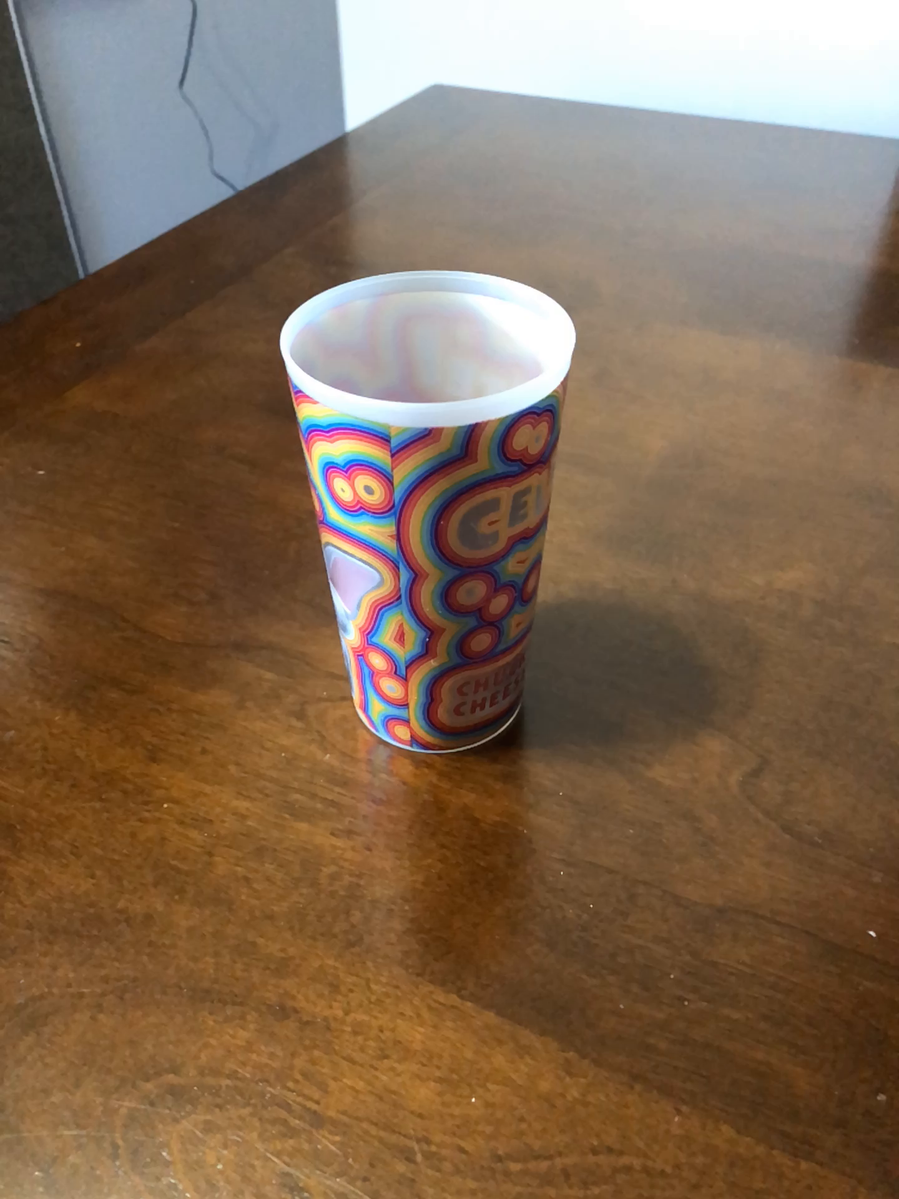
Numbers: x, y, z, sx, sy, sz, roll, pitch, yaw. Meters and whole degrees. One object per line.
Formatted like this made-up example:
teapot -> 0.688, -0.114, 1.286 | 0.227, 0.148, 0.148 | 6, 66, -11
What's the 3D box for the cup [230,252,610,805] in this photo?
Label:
cup -> -0.004, -0.019, 0.289 | 0.070, 0.129, 0.070 | -1, 41, 1
